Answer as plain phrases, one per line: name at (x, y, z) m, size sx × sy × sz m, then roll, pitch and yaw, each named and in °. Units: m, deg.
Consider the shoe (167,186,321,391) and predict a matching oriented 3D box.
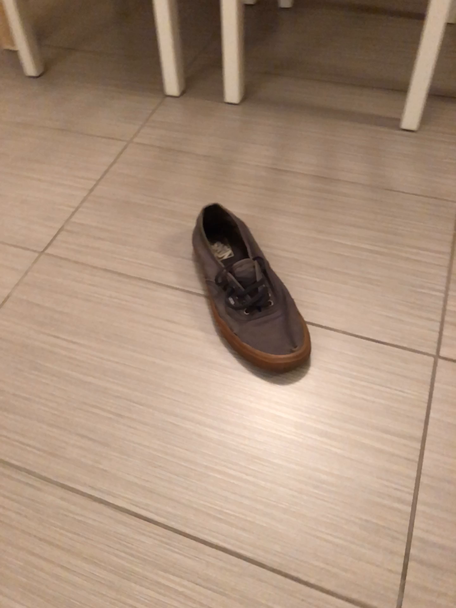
shoe at (0.011, -0.036, 0.686) m, size 0.110 × 0.060 × 0.291 m, roll -17°, pitch 53°, yaw -8°
